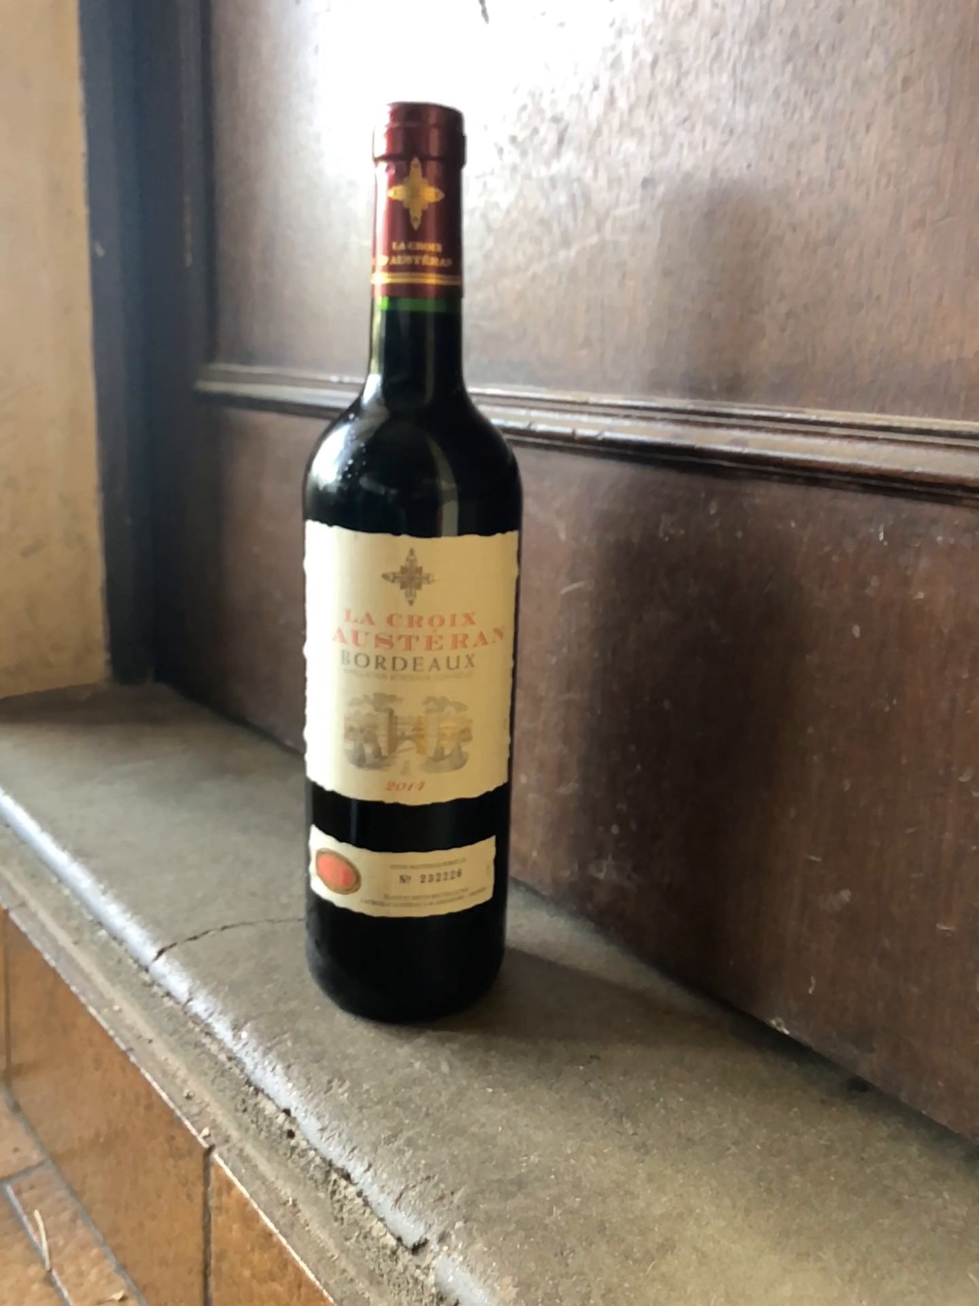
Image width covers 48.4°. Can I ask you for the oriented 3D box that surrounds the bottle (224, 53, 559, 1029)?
[{"bbox_3d":[-0.030,-0.030,0.354,0.080,0.279,0.080,2,14,-1],"label":"bottle"}]
